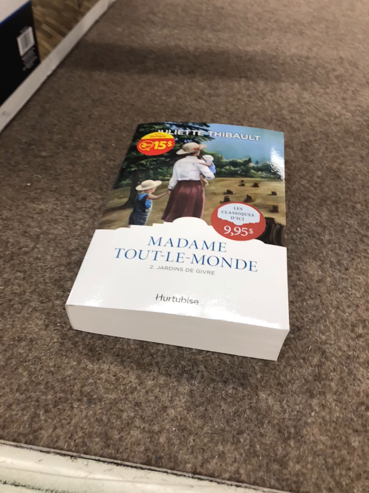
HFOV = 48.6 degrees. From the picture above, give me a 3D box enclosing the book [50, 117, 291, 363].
[{"bbox_3d":[0.006,-0.024,0.357,0.160,0.050,0.223,5,51,7],"label":"book"}]
